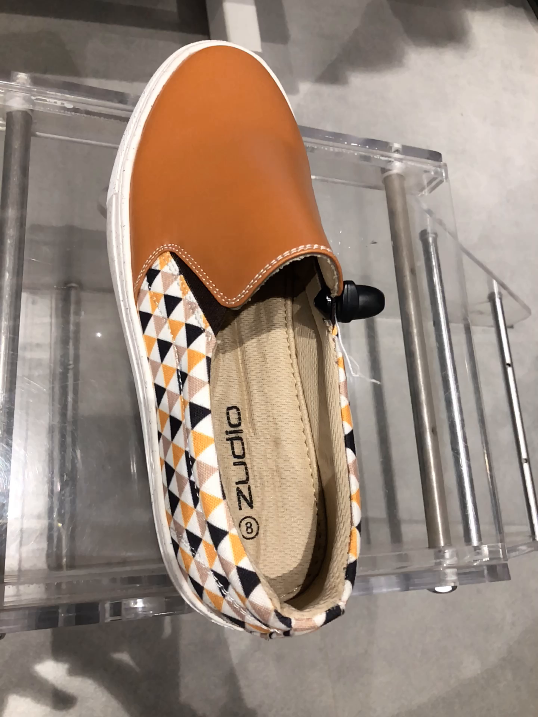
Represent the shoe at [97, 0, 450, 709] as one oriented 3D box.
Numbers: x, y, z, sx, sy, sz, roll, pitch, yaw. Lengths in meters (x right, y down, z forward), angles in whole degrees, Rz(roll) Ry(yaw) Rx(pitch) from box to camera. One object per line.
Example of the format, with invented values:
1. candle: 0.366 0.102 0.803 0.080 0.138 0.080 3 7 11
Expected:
1. shoe: -0.017 -0.025 0.274 0.110 0.100 0.290 0 74 -20
